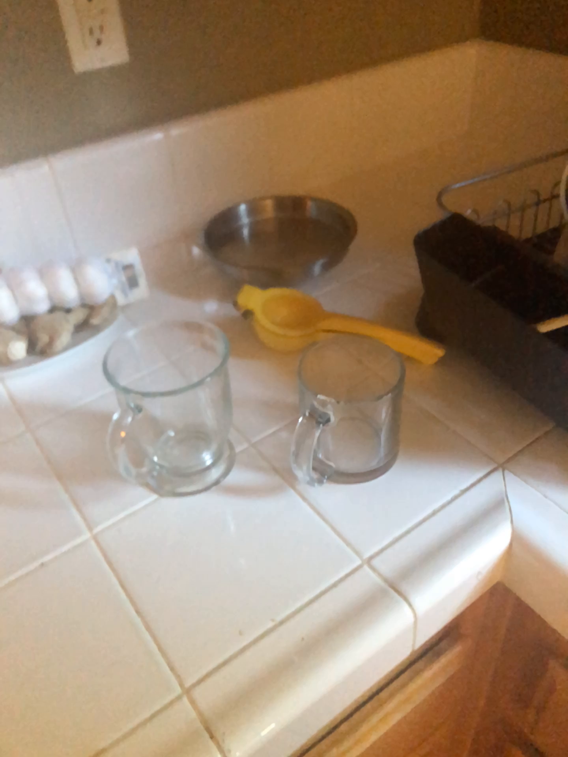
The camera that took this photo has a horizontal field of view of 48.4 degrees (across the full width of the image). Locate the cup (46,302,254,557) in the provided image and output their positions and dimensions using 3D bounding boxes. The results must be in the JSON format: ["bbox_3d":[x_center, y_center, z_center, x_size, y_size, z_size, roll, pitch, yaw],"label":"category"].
[{"bbox_3d":[-0.095,0.038,0.508,0.090,0.139,0.131,9,42,15],"label":"cup"}]

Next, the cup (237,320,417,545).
[{"bbox_3d":[0.038,0.040,0.519,0.090,0.109,0.121,20,46,26],"label":"cup"}]
